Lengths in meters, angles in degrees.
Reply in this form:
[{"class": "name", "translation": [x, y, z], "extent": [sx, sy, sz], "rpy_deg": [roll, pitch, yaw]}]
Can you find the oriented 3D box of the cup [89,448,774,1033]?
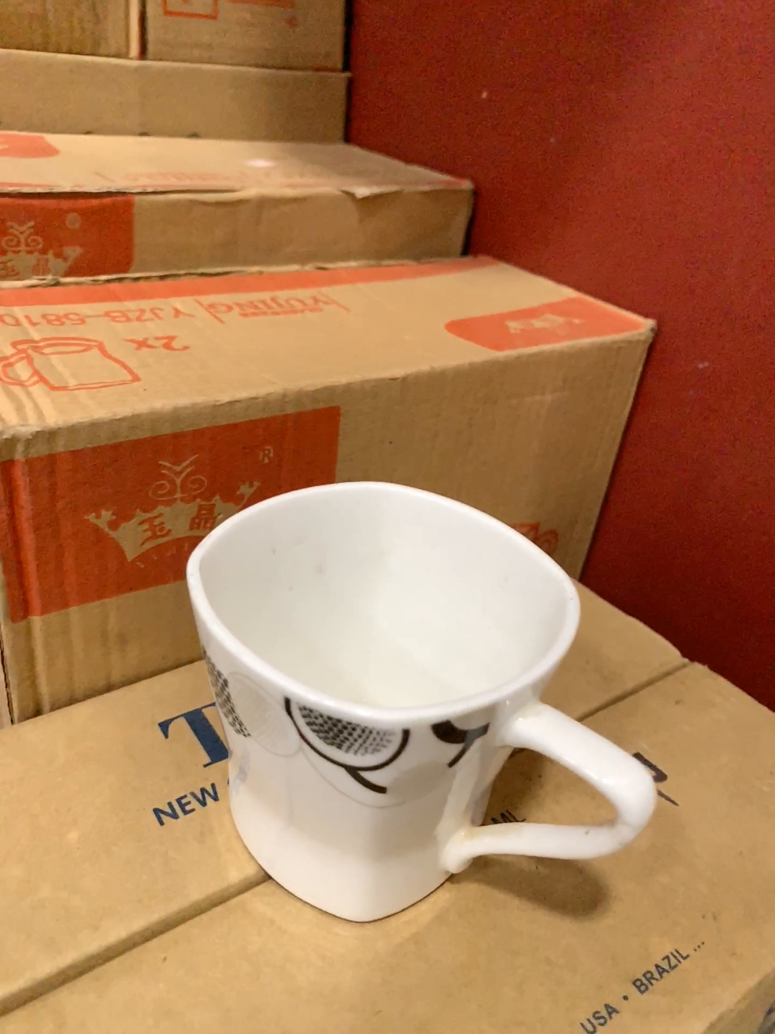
[{"class": "cup", "translation": [0.004, 0.039, 0.142], "extent": [0.090, 0.060, 0.060], "rpy_deg": [25, 35, 30]}]
